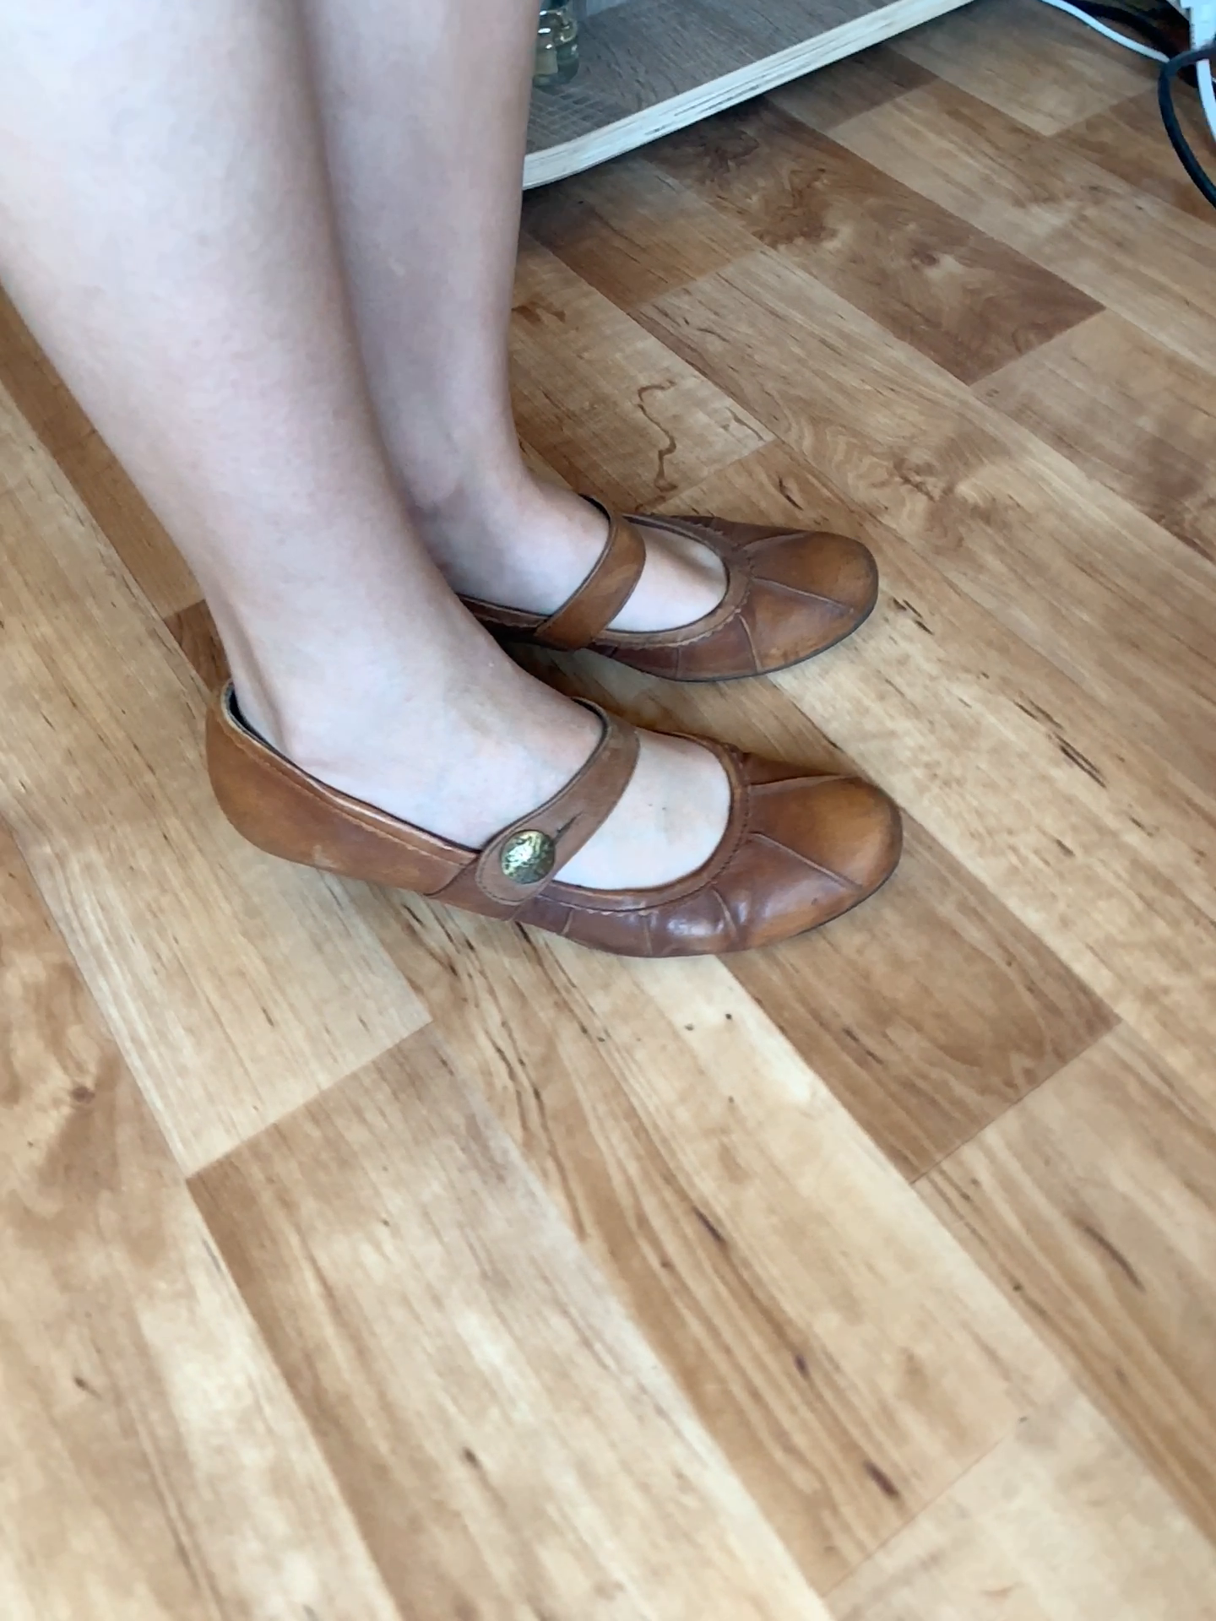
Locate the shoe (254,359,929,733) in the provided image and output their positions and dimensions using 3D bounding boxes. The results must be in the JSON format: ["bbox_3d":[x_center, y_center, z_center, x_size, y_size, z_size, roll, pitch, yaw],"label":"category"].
[{"bbox_3d":[-0.008,-0.109,0.520,0.250,0.090,0.090,-7,56,-1],"label":"shoe"}]

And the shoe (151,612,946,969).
[{"bbox_3d":[-0.017,-0.007,0.451,0.250,0.090,0.090,1,56,4],"label":"shoe"}]
